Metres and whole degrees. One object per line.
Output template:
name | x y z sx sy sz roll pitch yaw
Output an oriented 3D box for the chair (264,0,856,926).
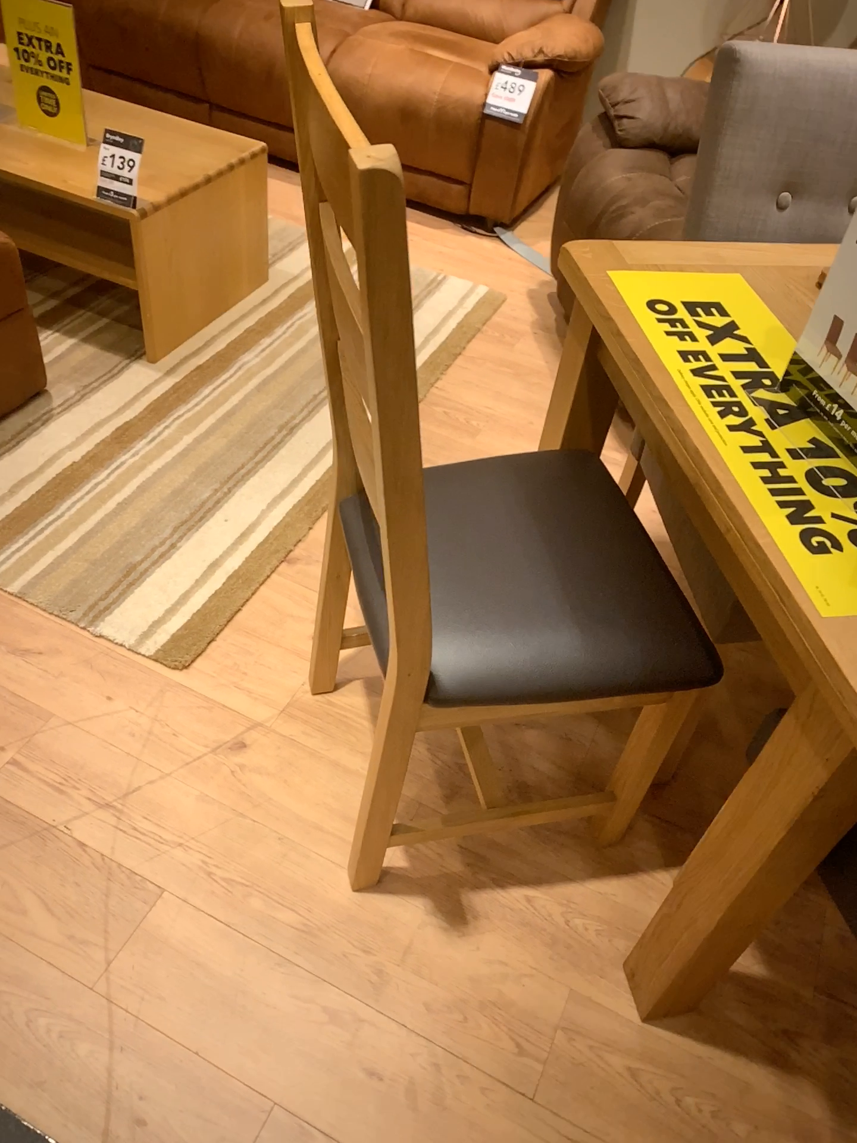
chair | 0.096 -0.046 1.143 0.550 1.100 0.474 -4 46 -13
